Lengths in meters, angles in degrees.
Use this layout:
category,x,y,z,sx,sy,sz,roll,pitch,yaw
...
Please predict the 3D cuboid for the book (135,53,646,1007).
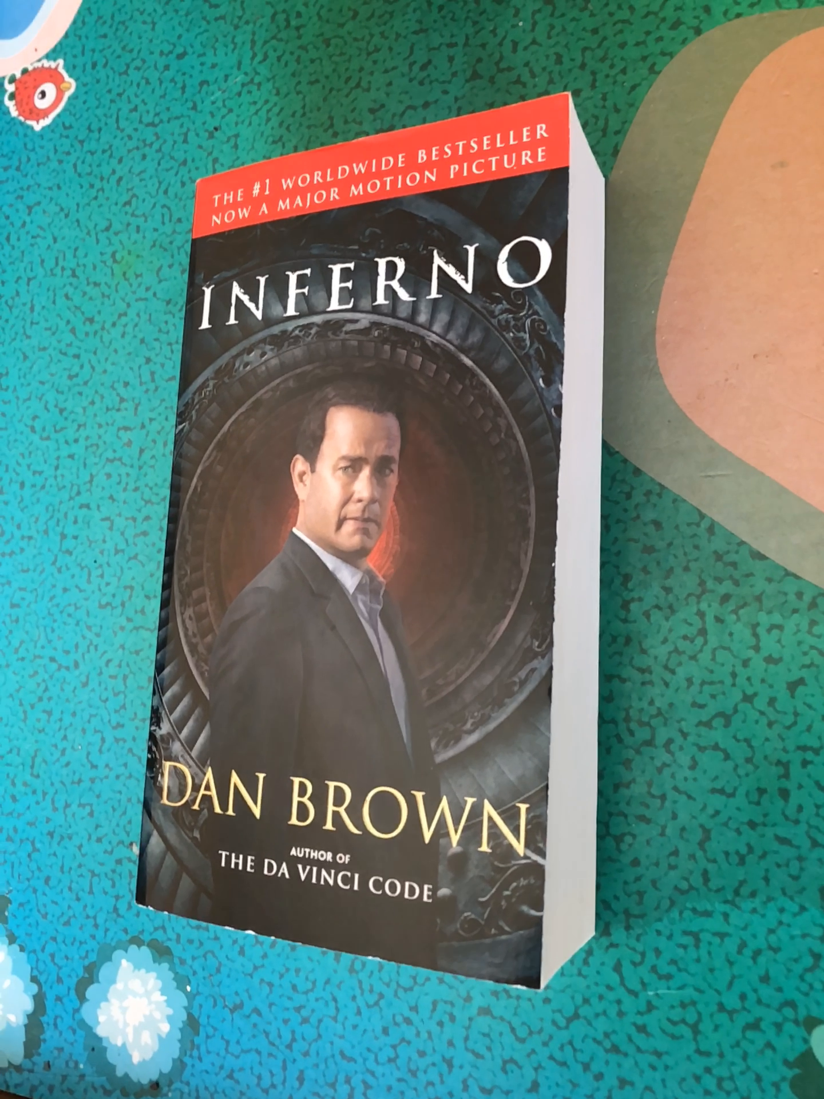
category,x,y,z,sx,sy,sz,roll,pitch,yaw
book,-0.002,-0.006,0.240,0.110,0.060,0.200,0,84,24
